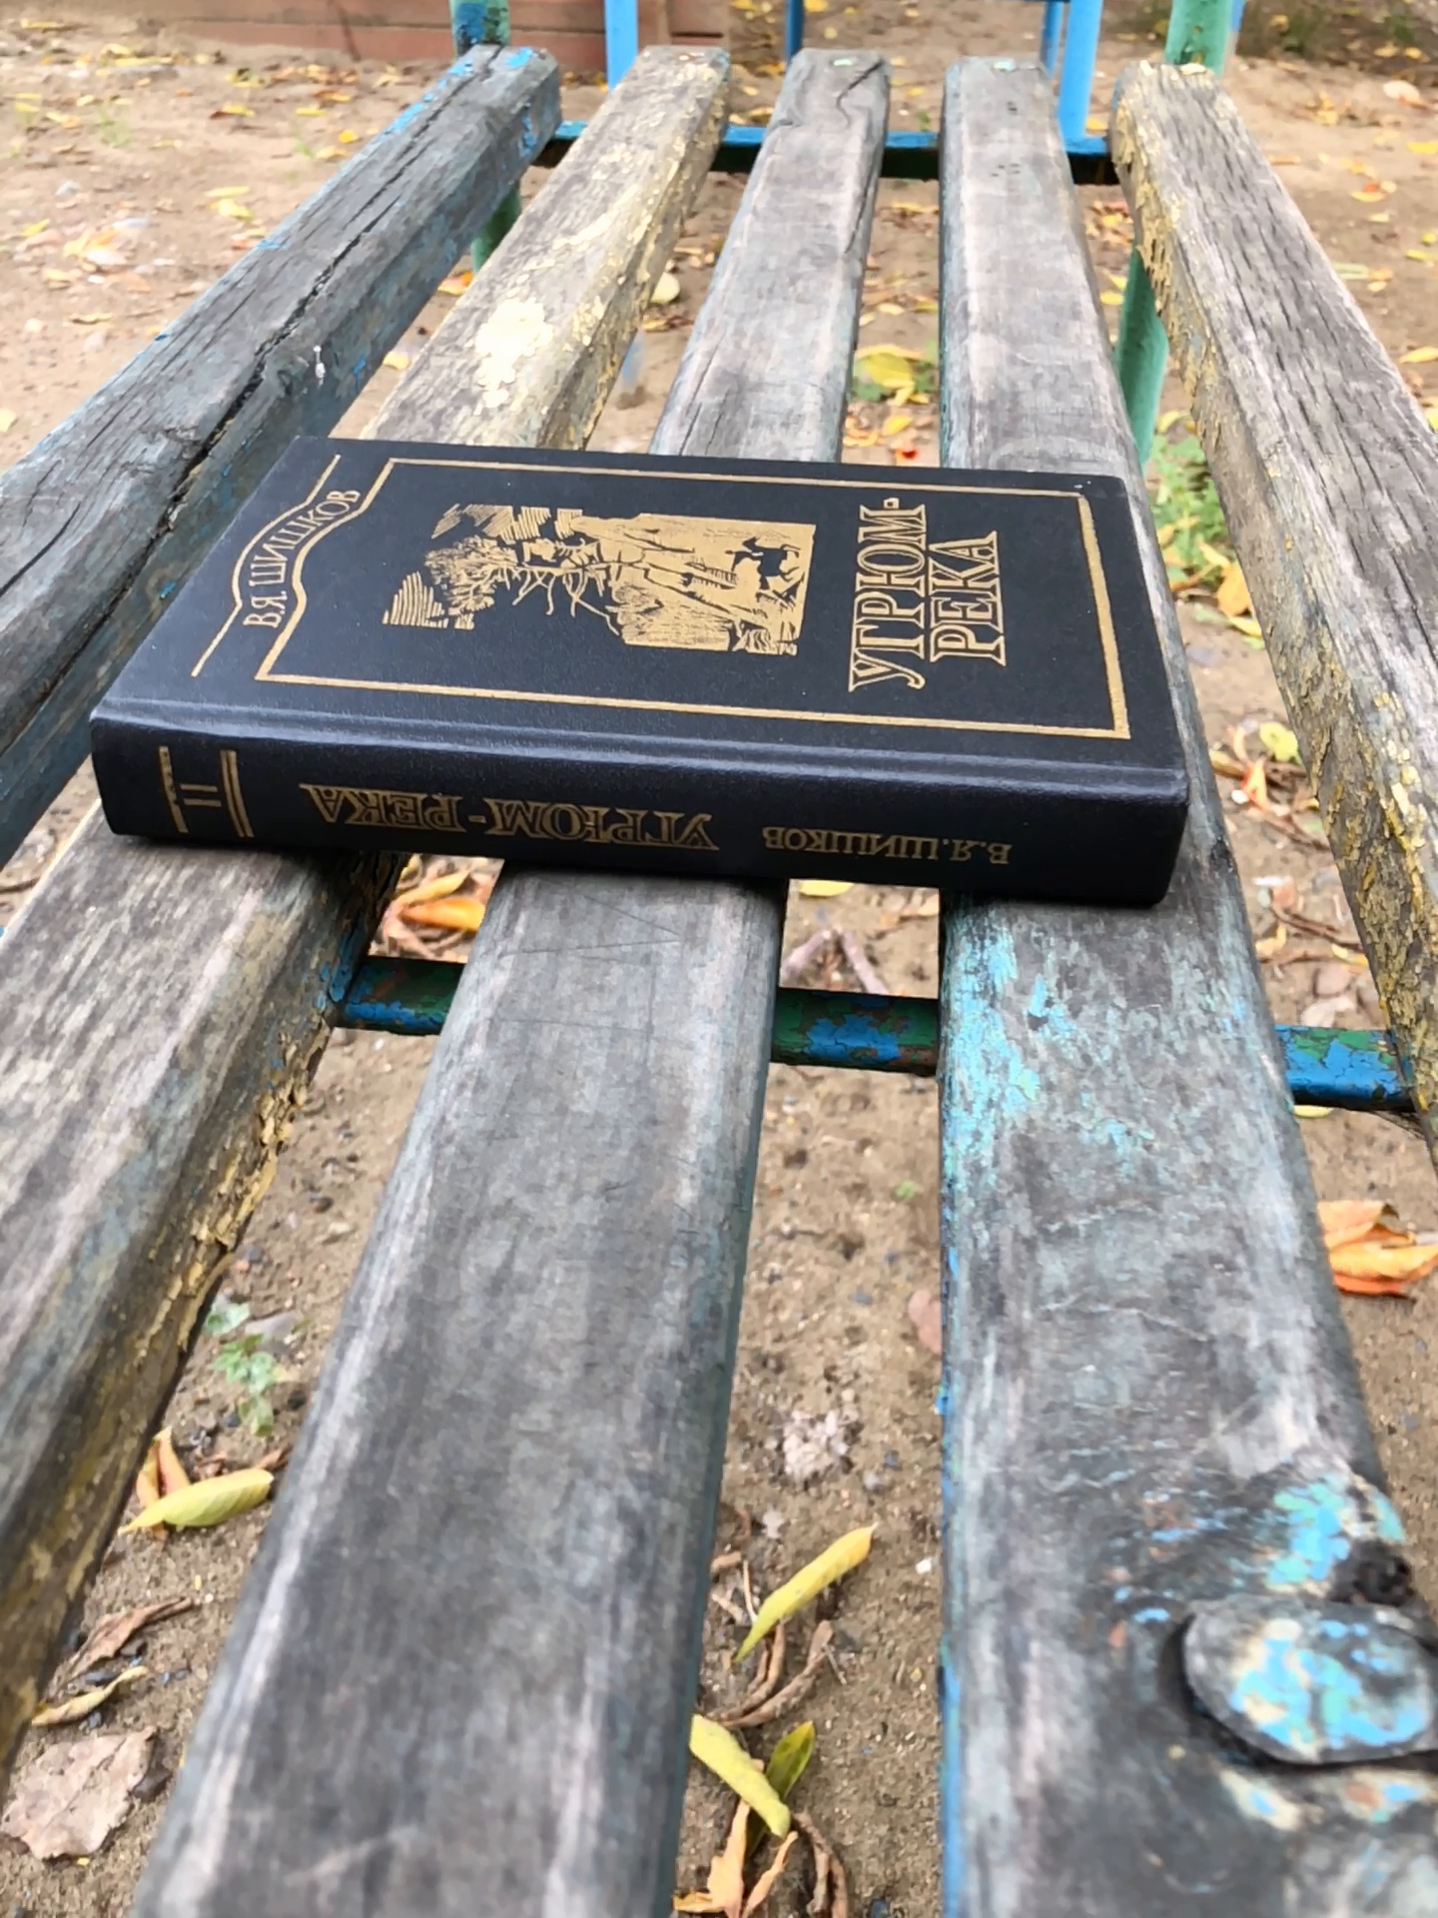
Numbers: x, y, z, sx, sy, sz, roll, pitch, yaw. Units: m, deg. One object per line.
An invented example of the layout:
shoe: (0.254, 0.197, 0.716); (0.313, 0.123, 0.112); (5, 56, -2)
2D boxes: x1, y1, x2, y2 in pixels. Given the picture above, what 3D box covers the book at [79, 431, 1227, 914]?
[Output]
book: (-0.009, -0.071, 0.352); (0.210, 0.030, 0.138); (4, 40, 3)
